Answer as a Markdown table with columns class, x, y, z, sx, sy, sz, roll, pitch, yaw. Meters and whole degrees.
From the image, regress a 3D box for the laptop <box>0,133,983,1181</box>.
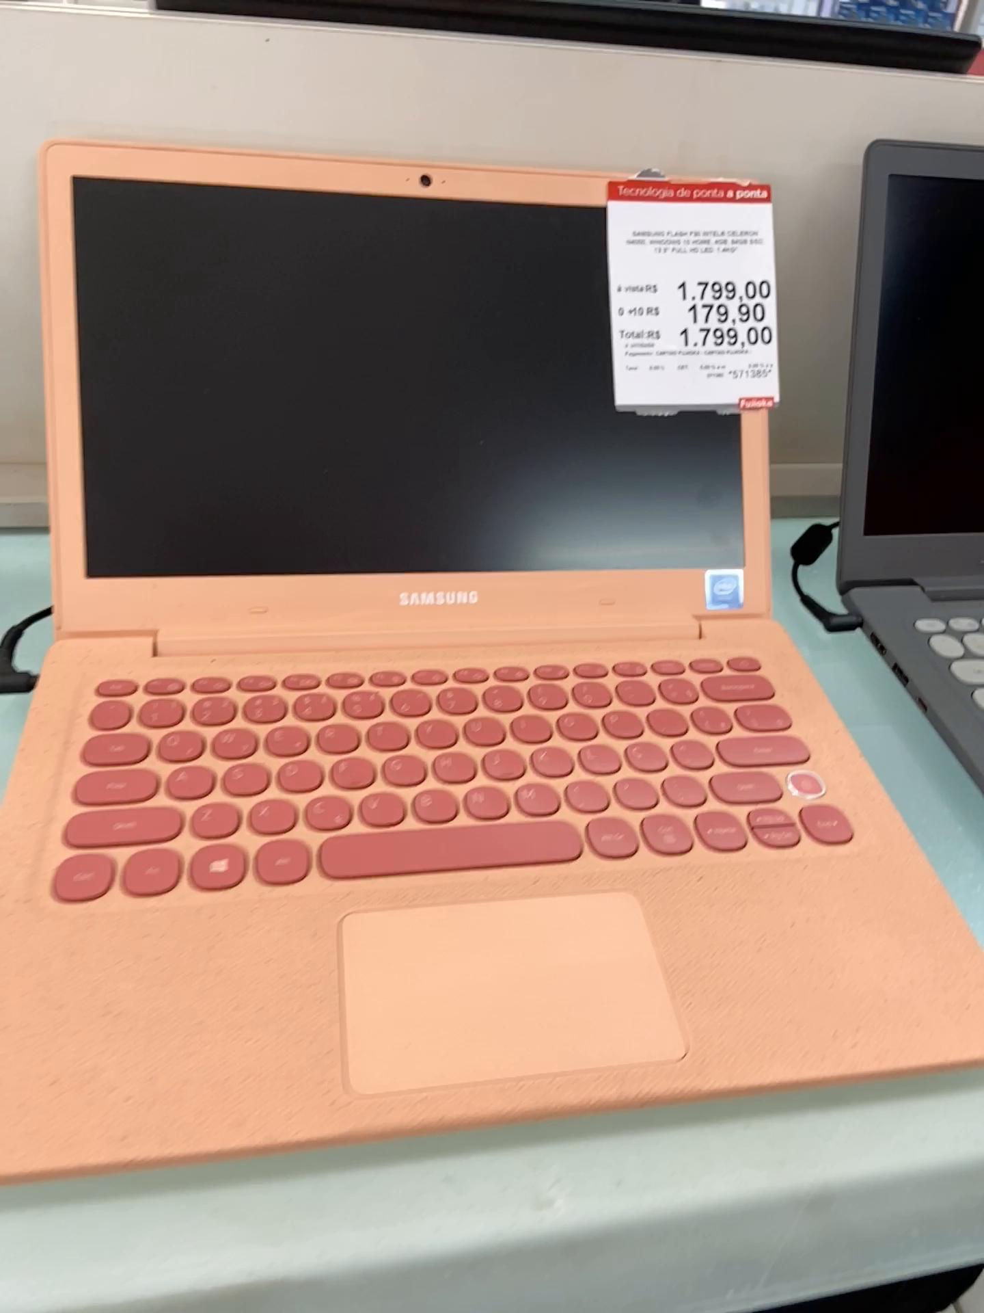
| class | x | y | z | sx | sy | sz | roll | pitch | yaw |
| --- | --- | --- | --- | --- | --- | --- | --- | --- | --- |
| laptop | -0.008 | -0.051 | 0.377 | 0.329 | 0.160 | 0.360 | -2 | 40 | -10 |
